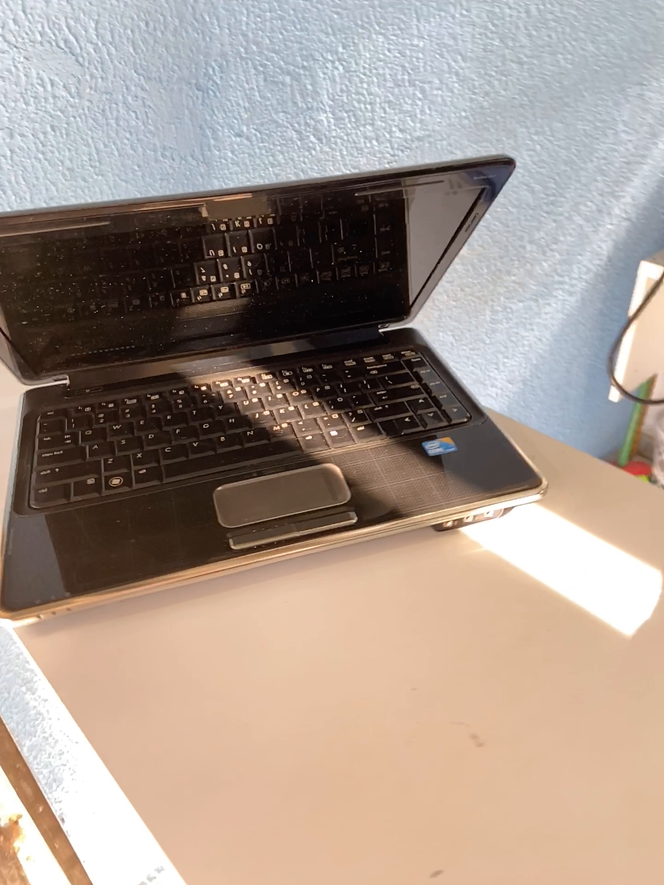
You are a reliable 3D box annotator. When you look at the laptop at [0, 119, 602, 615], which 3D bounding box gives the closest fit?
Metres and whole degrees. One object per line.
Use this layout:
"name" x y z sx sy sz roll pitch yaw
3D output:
"laptop" -0.053 -0.074 0.432 0.325 0.165 0.226 -11 38 -12
